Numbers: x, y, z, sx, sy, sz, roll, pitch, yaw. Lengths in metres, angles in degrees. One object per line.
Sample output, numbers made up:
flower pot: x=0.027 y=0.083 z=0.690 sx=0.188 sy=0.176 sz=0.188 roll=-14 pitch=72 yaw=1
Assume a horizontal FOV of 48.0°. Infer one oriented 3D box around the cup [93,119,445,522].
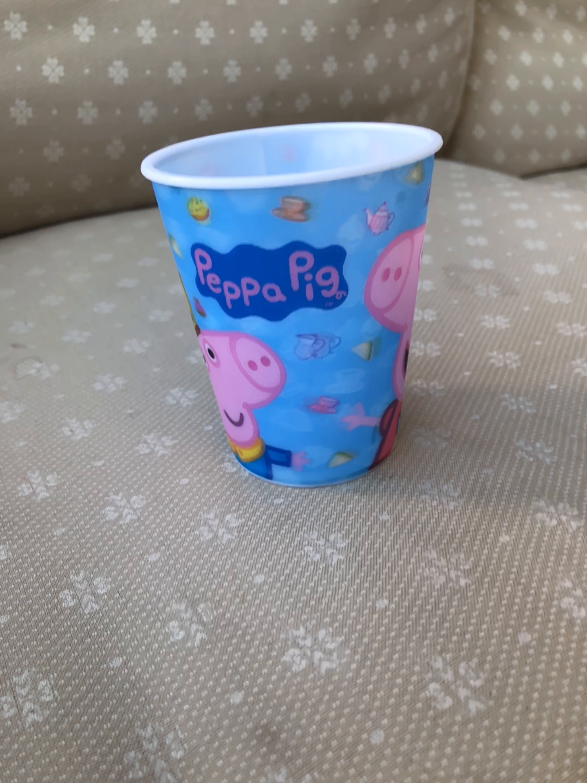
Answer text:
cup: x=0.001 y=-0.031 z=0.224 sx=0.086 sy=0.101 sz=0.092 roll=0 pitch=30 yaw=0
